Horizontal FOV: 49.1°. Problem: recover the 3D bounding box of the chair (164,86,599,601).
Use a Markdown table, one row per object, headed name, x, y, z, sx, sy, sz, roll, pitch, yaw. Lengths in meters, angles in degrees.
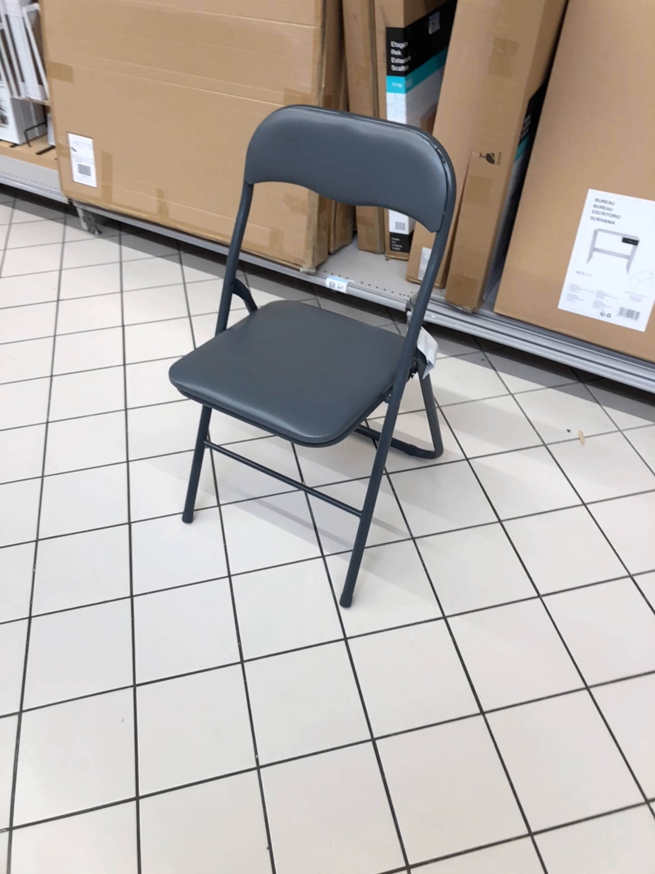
| name | x | y | z | sx | sy | sz | roll | pitch | yaw |
| --- | --- | --- | --- | --- | --- | --- | --- | --- | --- |
| chair | 0.105 | -0.193 | 1.455 | 0.550 | 0.755 | 0.503 | 24 | 48 | 24 |
